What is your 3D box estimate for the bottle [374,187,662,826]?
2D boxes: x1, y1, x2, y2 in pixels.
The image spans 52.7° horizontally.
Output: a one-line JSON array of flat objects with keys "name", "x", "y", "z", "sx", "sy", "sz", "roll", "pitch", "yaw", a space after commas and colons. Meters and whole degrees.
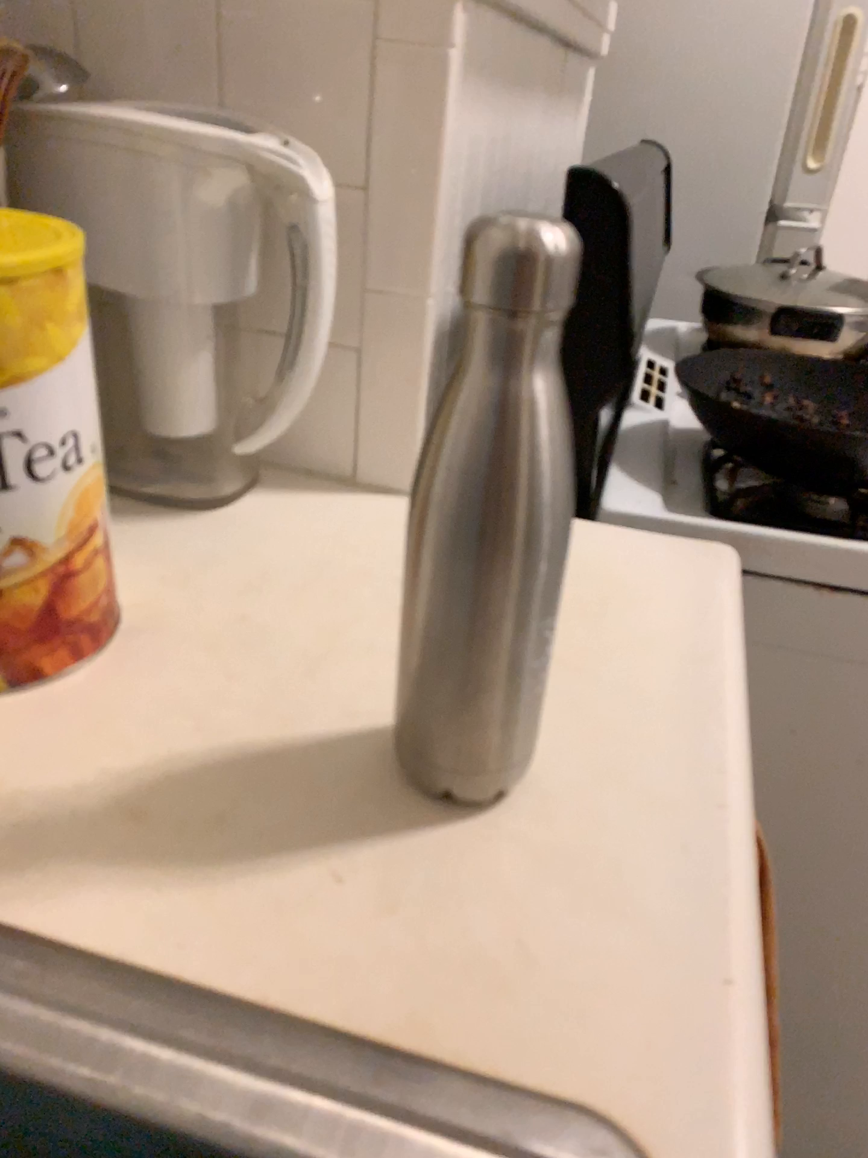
[{"name": "bottle", "x": 0.028, "y": -0.022, "z": 0.367, "sx": 0.070, "sy": 0.249, "sz": 0.070, "roll": 4, "pitch": 30, "yaw": -2}]
